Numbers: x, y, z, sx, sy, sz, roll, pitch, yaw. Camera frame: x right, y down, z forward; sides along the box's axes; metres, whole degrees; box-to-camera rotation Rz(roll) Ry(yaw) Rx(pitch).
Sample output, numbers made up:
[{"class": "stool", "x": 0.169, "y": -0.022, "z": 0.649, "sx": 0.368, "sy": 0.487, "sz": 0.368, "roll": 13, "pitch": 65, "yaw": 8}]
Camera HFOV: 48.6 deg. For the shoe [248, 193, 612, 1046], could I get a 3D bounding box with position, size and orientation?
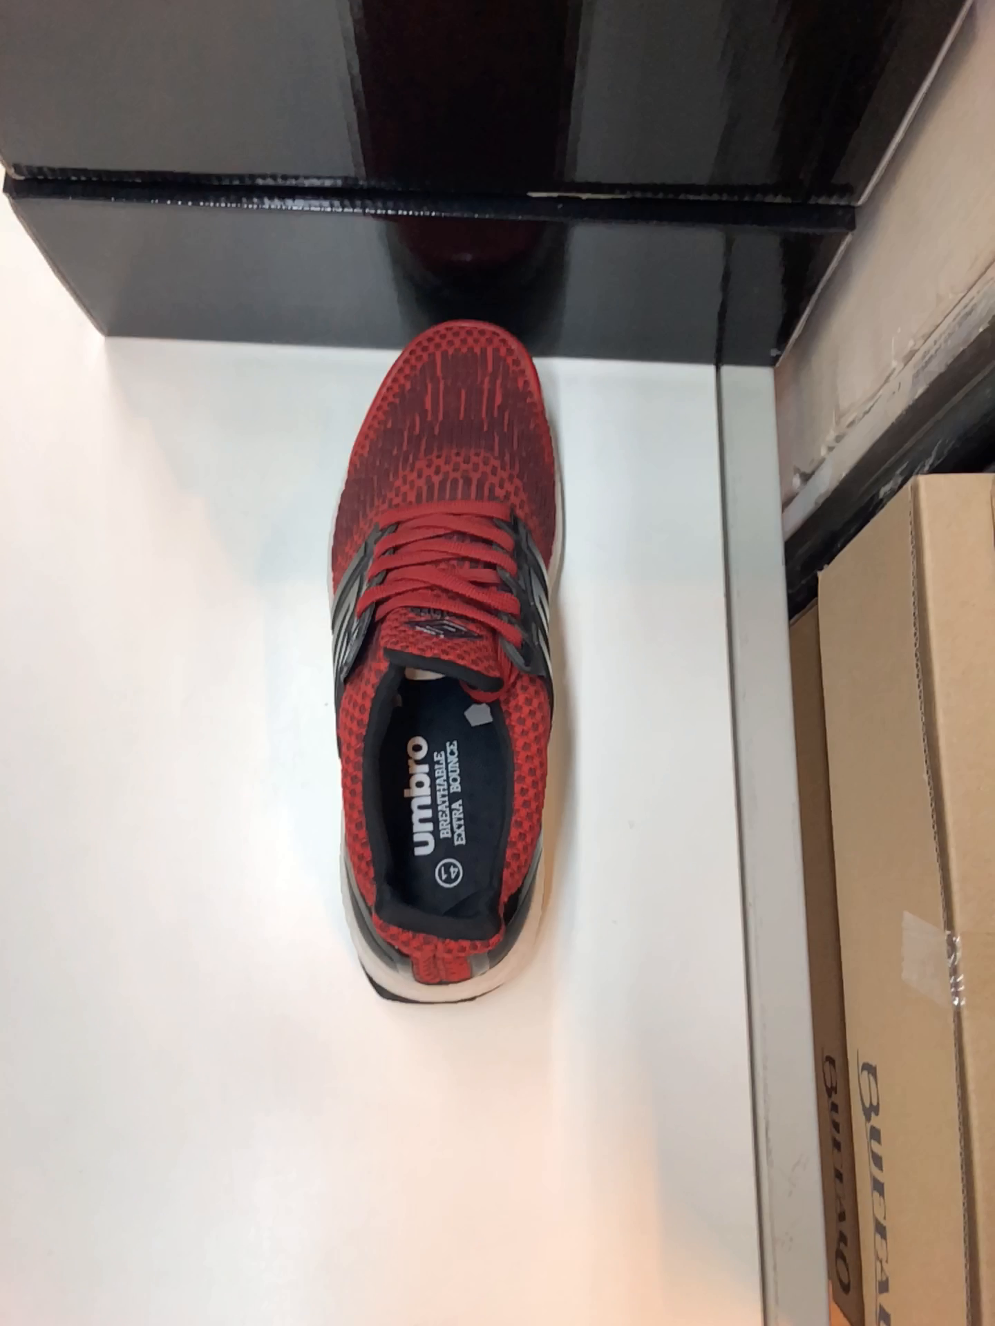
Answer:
[{"class": "shoe", "x": -0.021, "y": -0.014, "z": 0.415, "sx": 0.111, "sy": 0.108, "sz": 0.286, "roll": 0, "pitch": 80, "yaw": -1}]
